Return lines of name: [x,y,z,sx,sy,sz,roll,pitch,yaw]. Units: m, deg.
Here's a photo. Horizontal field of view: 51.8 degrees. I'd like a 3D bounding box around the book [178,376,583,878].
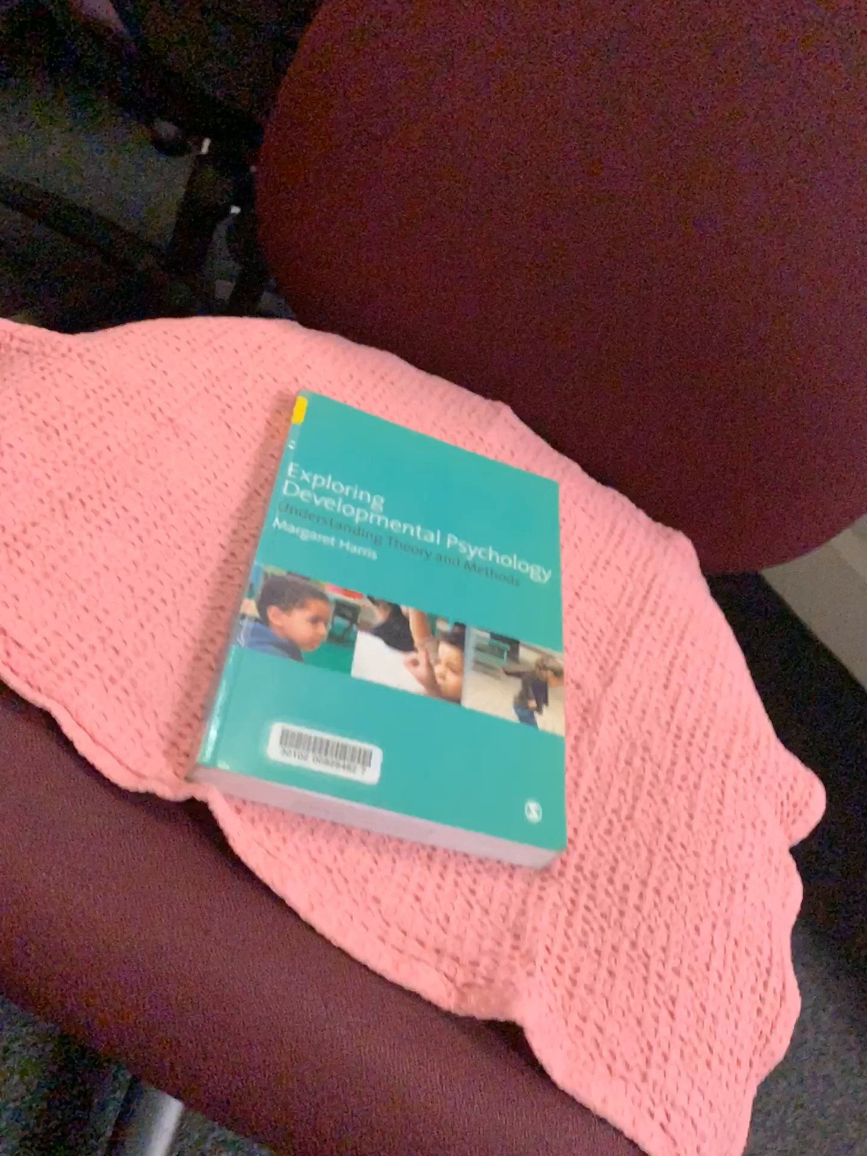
book: [-0.012,0.012,0.465,0.175,0.030,0.247,18,48,-15]
